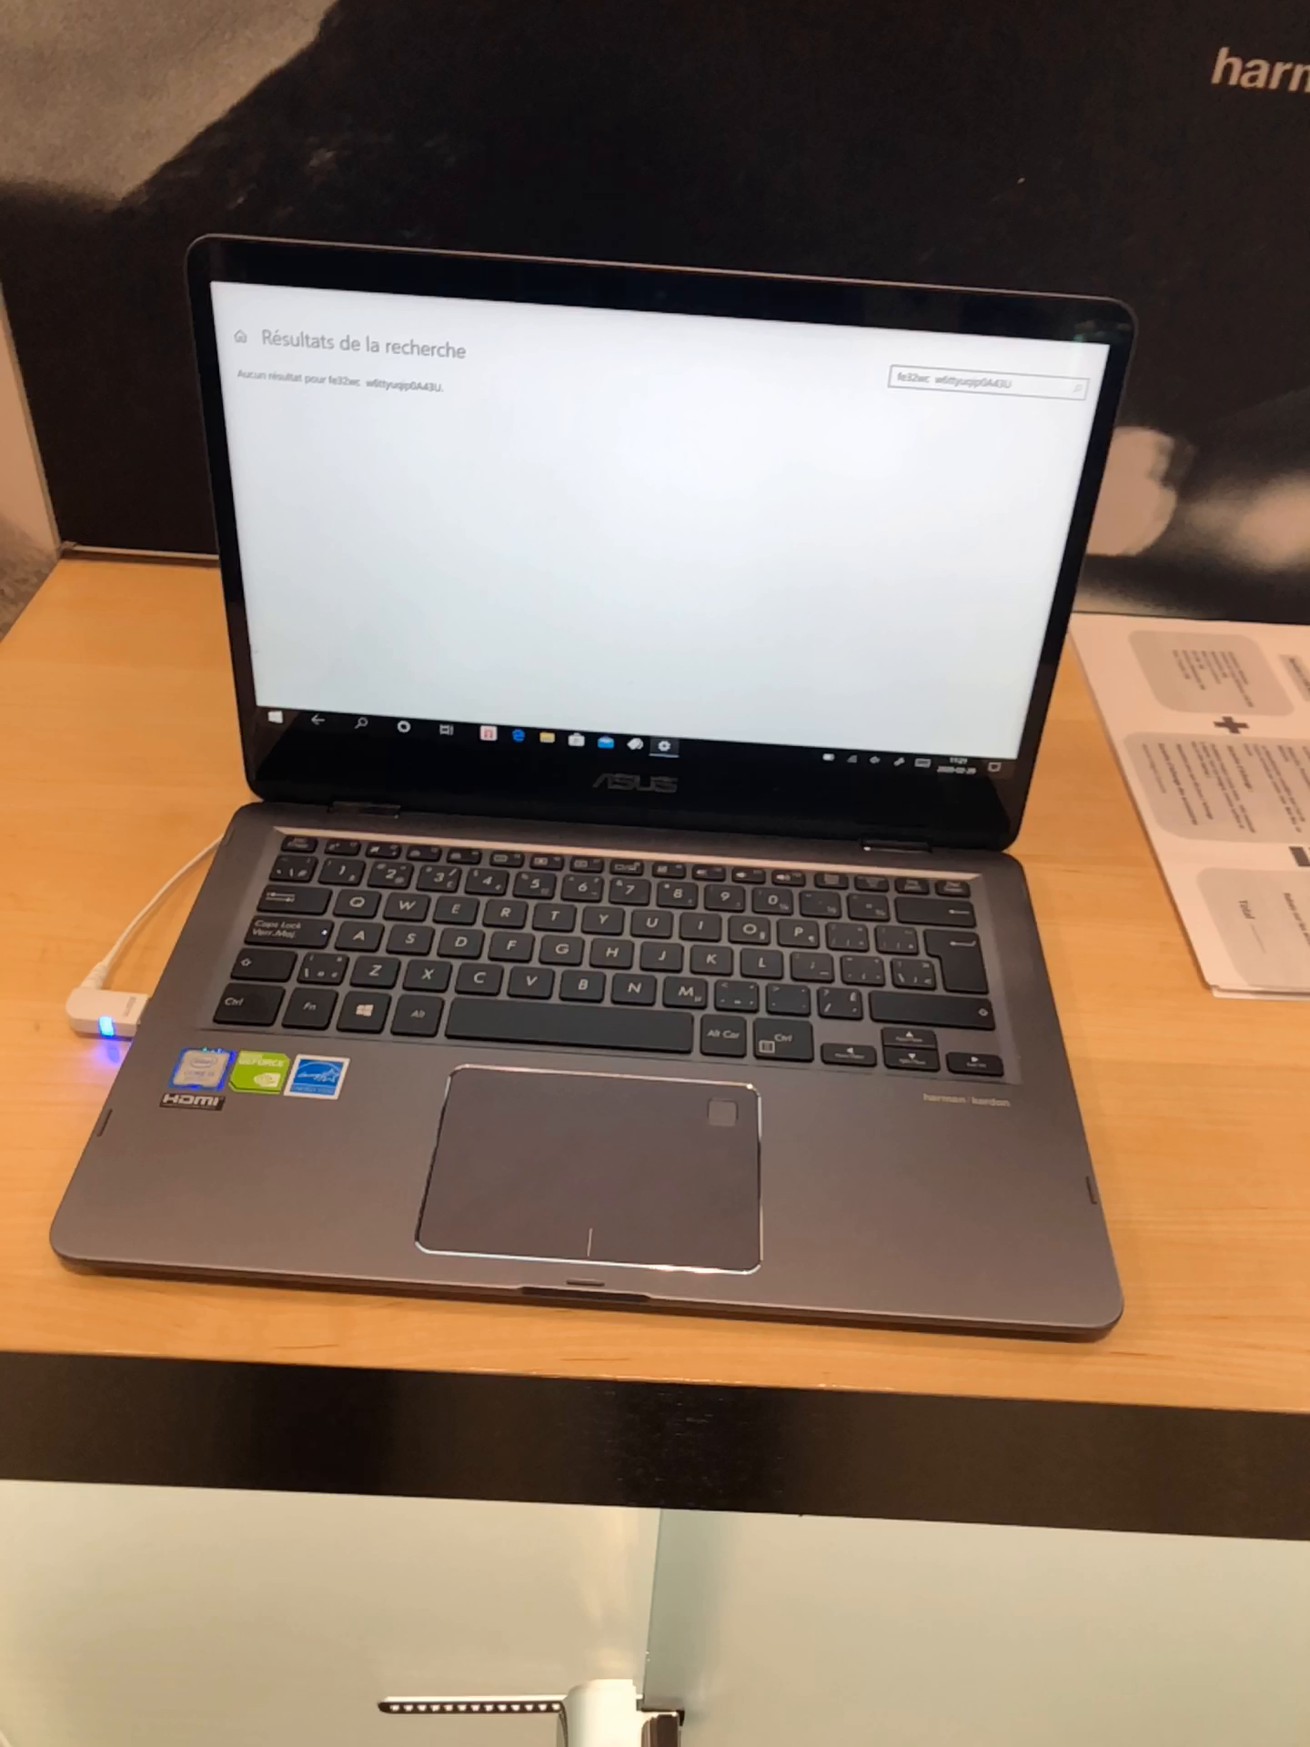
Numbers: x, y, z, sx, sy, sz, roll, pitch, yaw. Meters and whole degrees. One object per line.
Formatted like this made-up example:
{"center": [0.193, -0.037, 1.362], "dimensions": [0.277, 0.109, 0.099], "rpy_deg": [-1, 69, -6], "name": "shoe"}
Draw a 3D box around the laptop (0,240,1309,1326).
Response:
{"center": [-0.009, -0.036, 0.458], "dimensions": [0.320, 0.224, 0.240], "rpy_deg": [4, 40, 0], "name": "laptop"}
